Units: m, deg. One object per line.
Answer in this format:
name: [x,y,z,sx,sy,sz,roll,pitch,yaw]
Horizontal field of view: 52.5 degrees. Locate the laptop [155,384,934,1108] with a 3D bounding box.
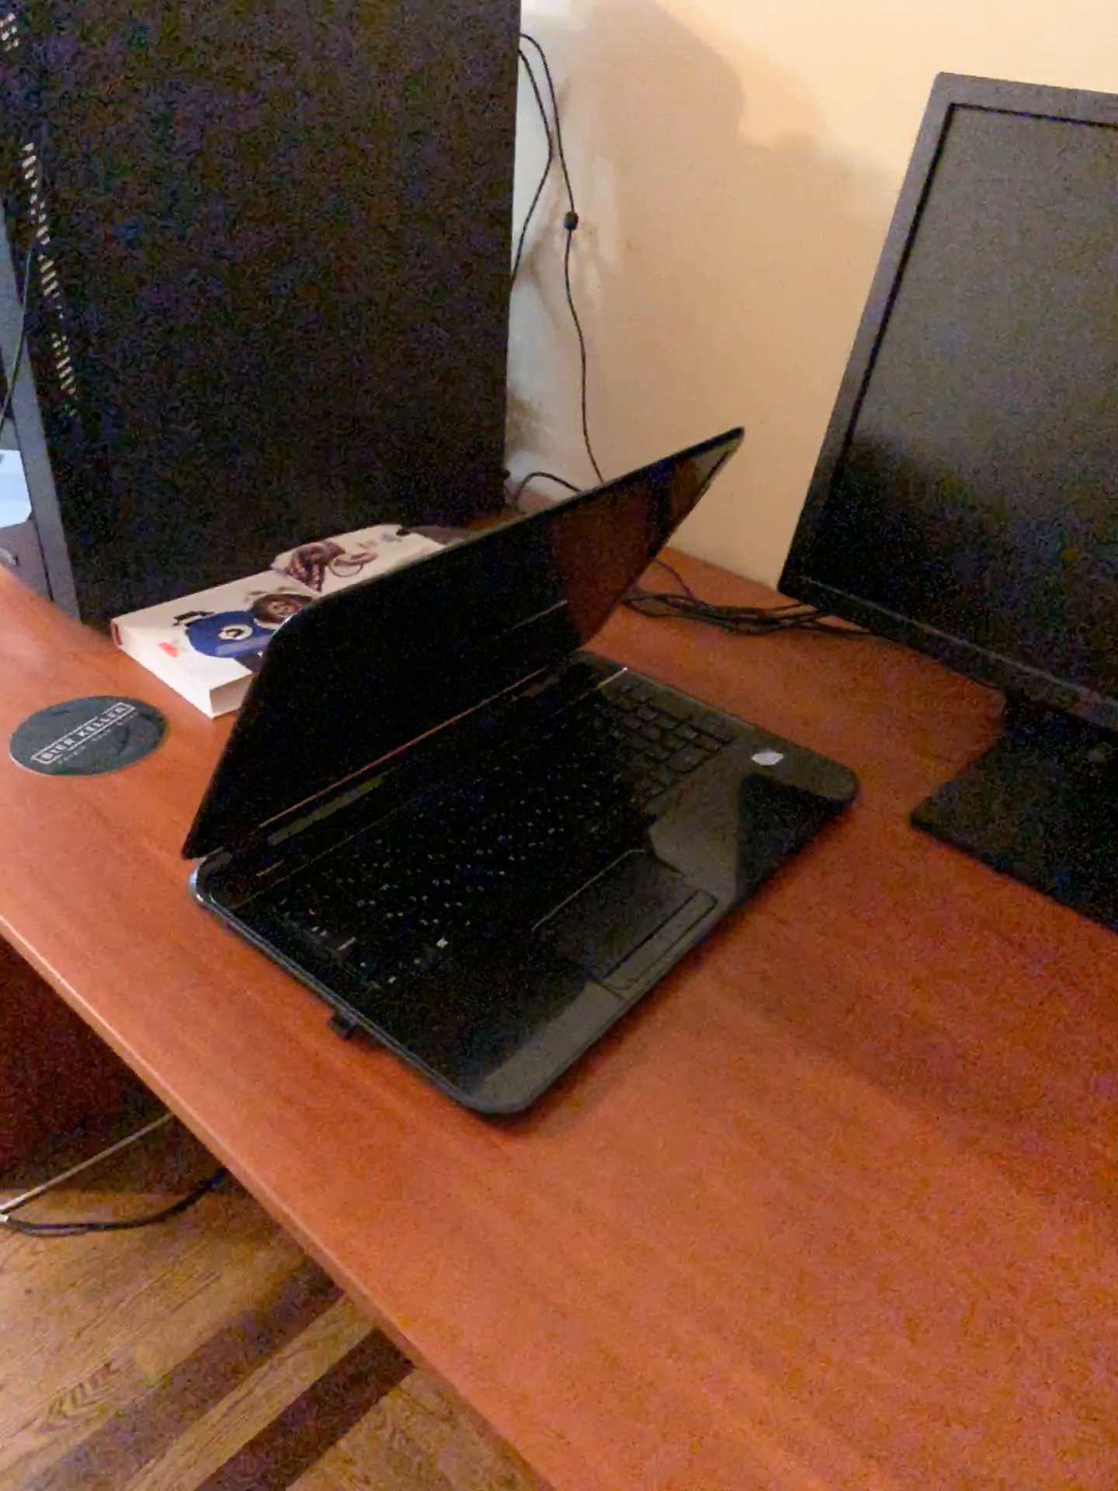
laptop: [0.006,-0.037,0.625,0.222,0.198,0.349,27,41,30]
